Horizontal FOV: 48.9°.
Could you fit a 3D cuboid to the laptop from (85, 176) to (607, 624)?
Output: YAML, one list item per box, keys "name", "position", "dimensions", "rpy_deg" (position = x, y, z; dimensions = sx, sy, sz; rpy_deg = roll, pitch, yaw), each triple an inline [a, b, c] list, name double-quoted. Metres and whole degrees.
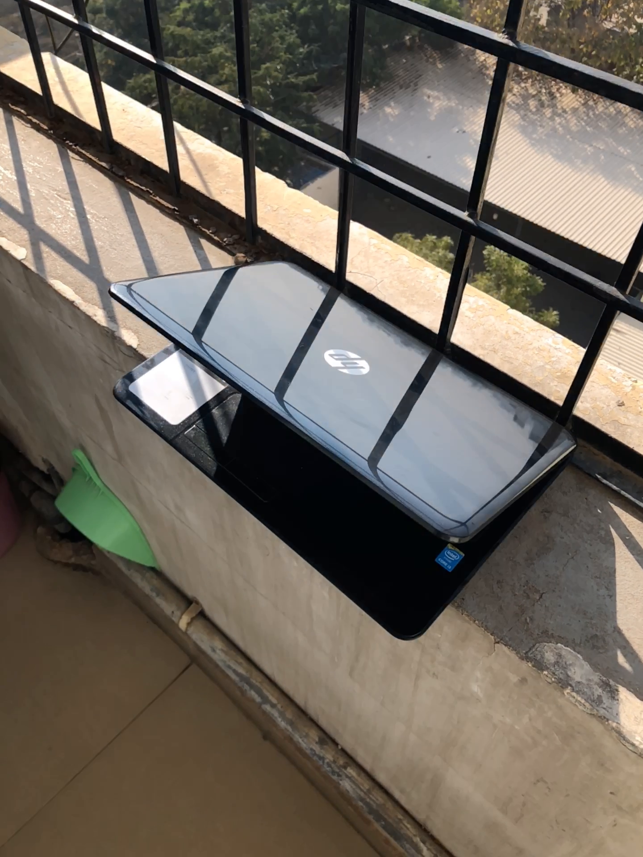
- name: "laptop"
  position: [0.014, -0.055, 0.625]
  dimensions: [0.364, 0.113, 0.245]
  rpy_deg: [36, 57, 25]
